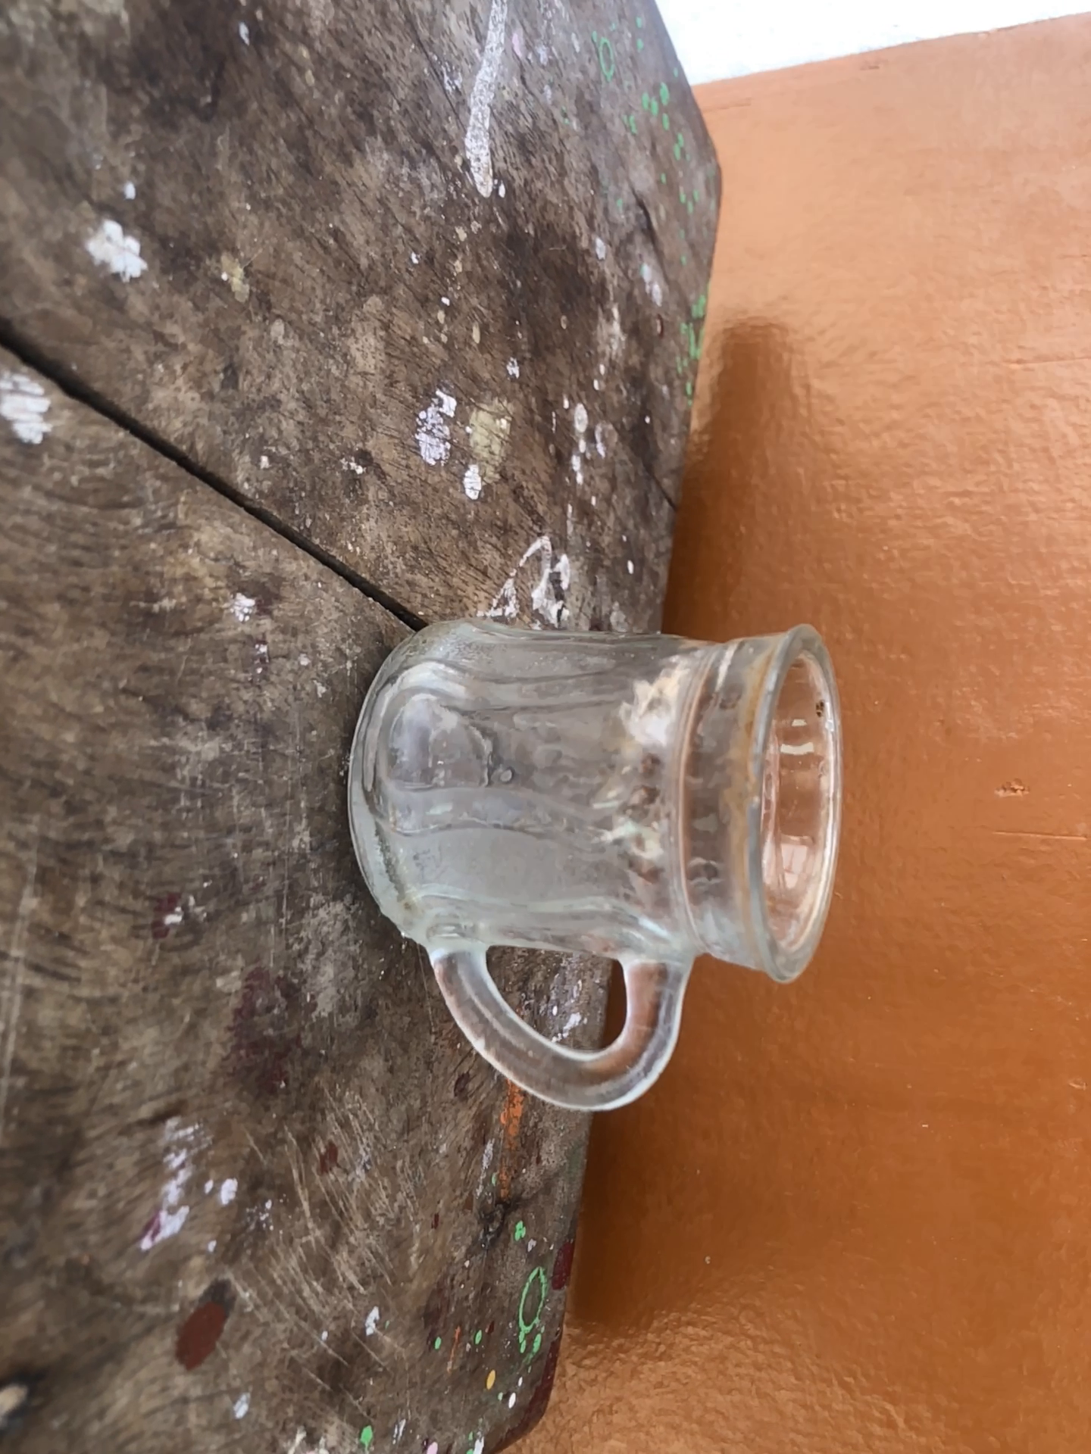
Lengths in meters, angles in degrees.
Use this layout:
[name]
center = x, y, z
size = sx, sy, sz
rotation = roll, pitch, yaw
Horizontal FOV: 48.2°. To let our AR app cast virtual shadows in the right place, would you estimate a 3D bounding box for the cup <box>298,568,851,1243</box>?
[cup]
center = 0.008, 0.023, 0.180
size = 0.050, 0.060, 0.080
rotation = 25, 69, -65
